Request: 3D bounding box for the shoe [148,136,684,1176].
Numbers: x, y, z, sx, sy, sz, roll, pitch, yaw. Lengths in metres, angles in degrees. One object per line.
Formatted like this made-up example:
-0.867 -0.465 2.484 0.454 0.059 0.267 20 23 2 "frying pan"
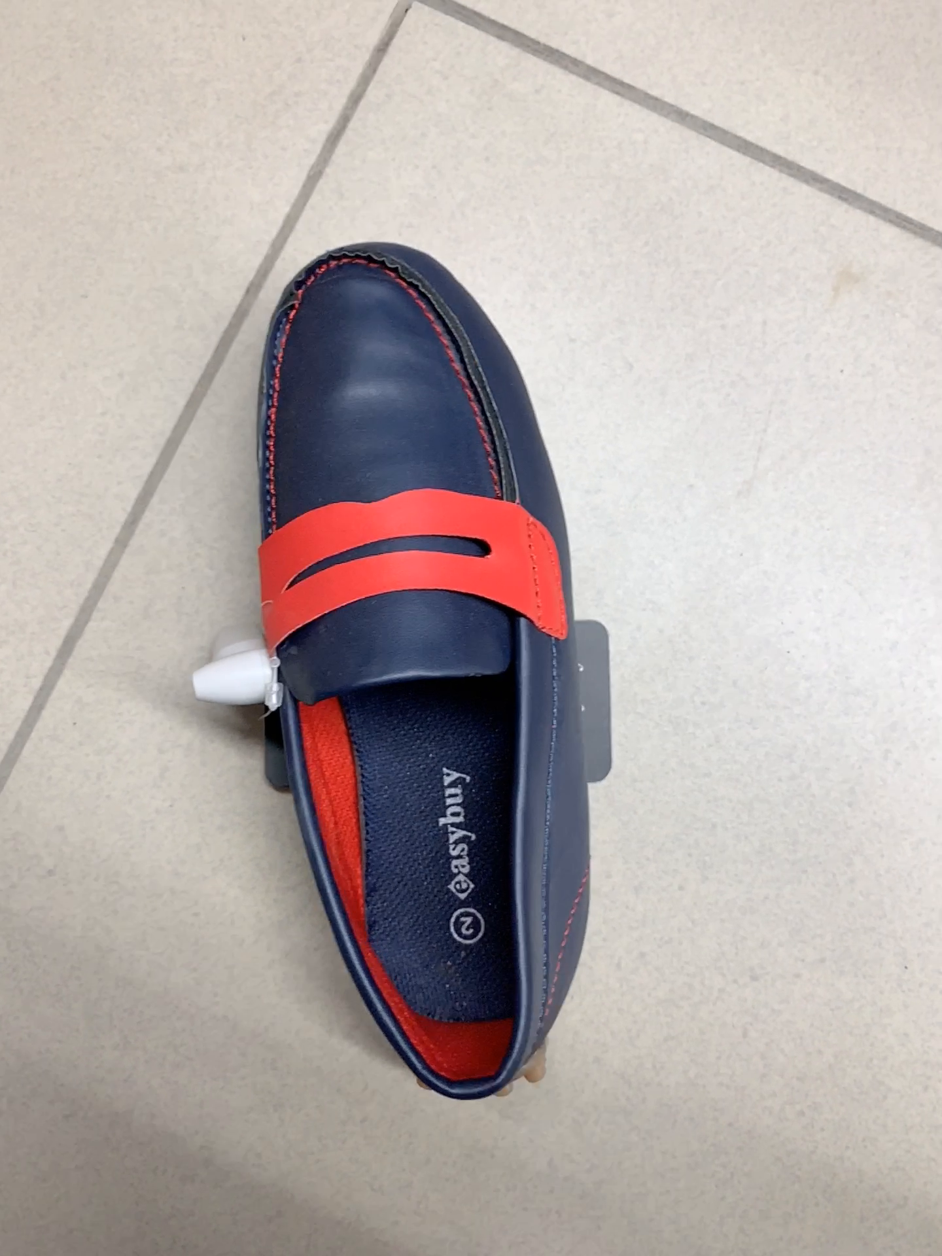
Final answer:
-0.013 0.003 0.222 0.080 0.050 0.200 -8 86 -2 "shoe"
